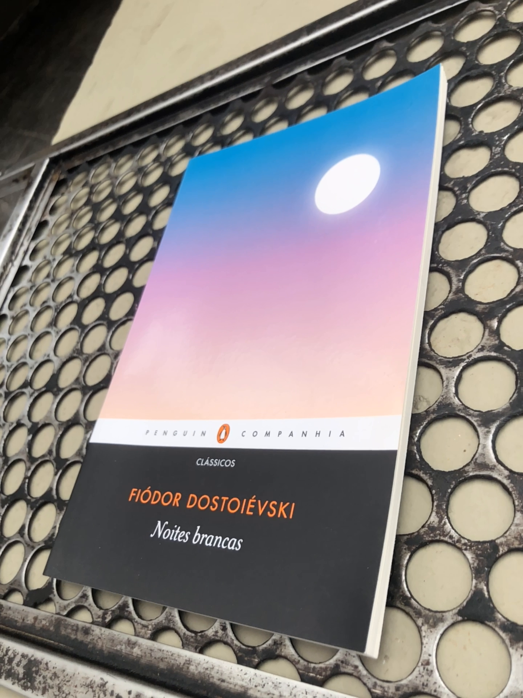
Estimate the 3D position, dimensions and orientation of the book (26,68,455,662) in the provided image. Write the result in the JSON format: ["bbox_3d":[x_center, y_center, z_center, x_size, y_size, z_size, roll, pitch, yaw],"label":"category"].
[{"bbox_3d":[-0.006,-0.009,0.212,0.133,0.010,0.191,-5,59,36],"label":"book"}]
